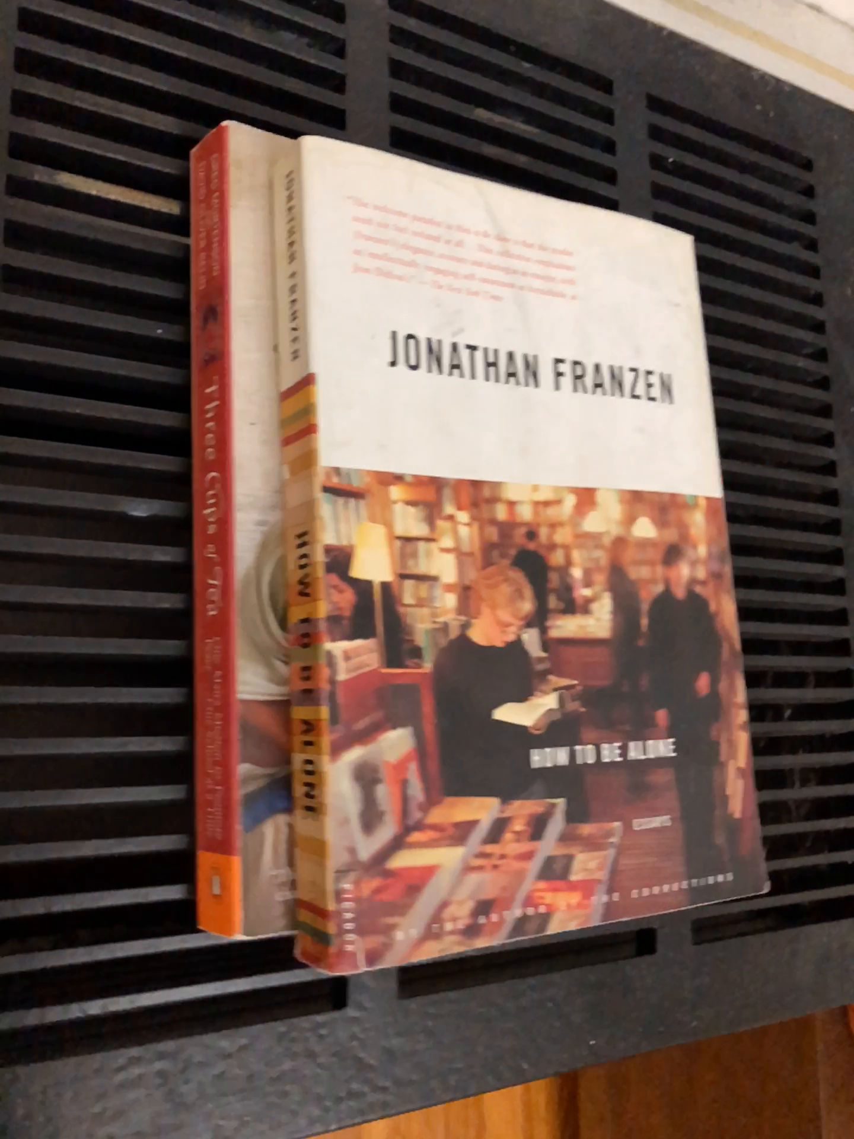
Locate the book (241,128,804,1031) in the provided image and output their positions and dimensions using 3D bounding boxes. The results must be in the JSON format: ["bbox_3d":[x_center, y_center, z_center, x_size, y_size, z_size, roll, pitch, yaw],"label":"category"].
[{"bbox_3d":[0.030,-0.002,0.269,0.151,0.030,0.210,0,81,-30],"label":"book"}]

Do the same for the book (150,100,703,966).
[{"bbox_3d":[0.003,-0.013,0.277,0.151,0.030,0.210,0,81,-30],"label":"book"}]
